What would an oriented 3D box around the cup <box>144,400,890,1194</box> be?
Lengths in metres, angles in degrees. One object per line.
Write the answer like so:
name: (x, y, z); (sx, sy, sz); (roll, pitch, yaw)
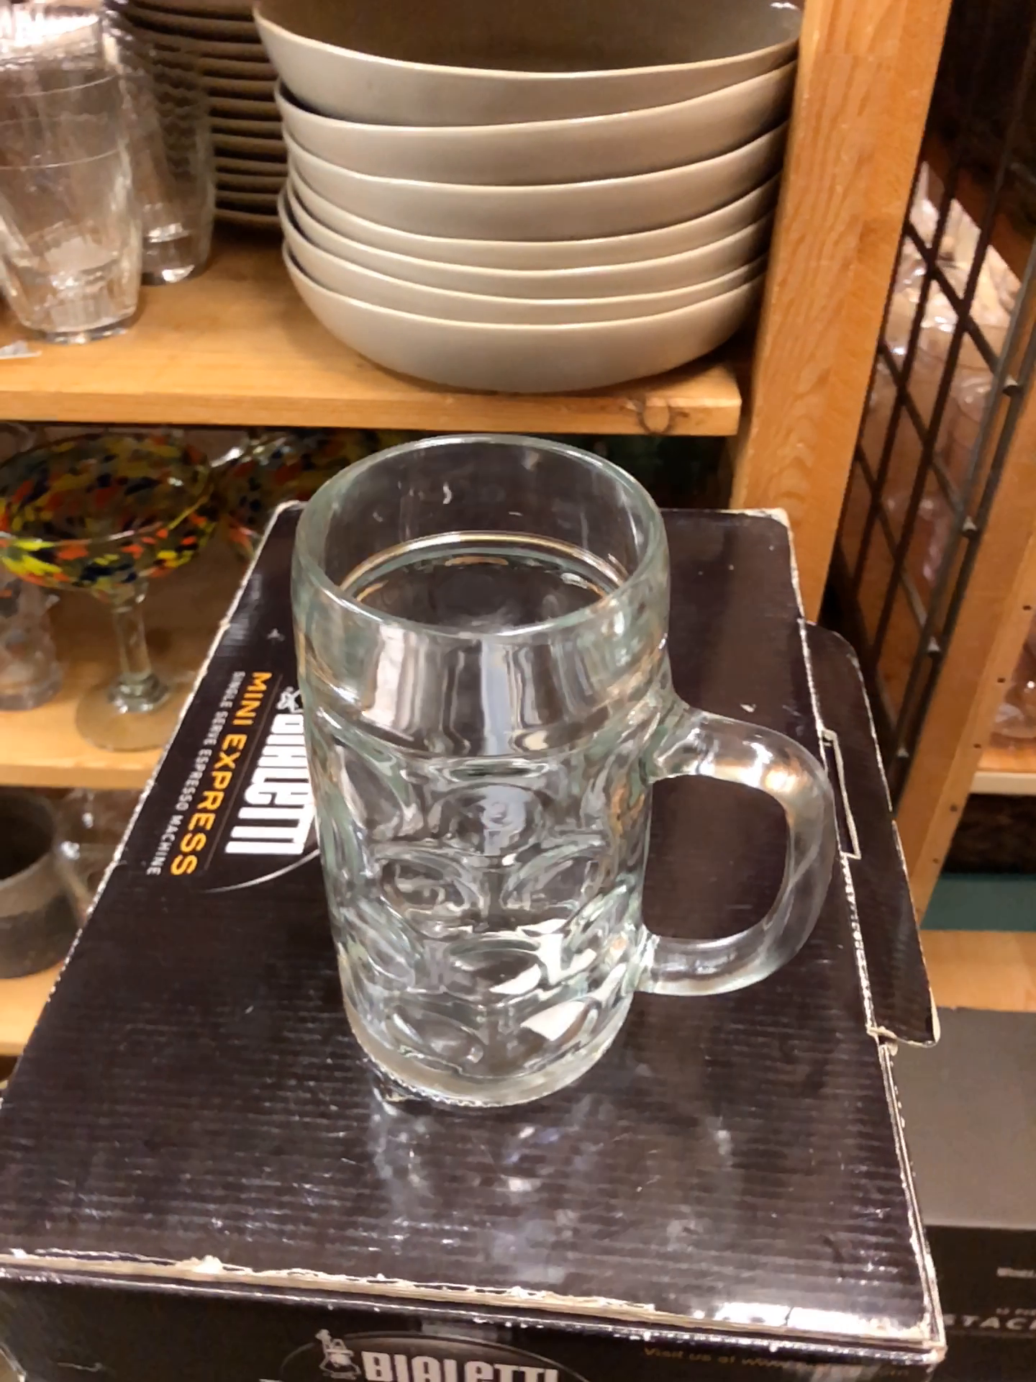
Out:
cup: (0.007, 0.023, 0.278); (0.129, 0.136, 0.100); (11, 41, 13)
